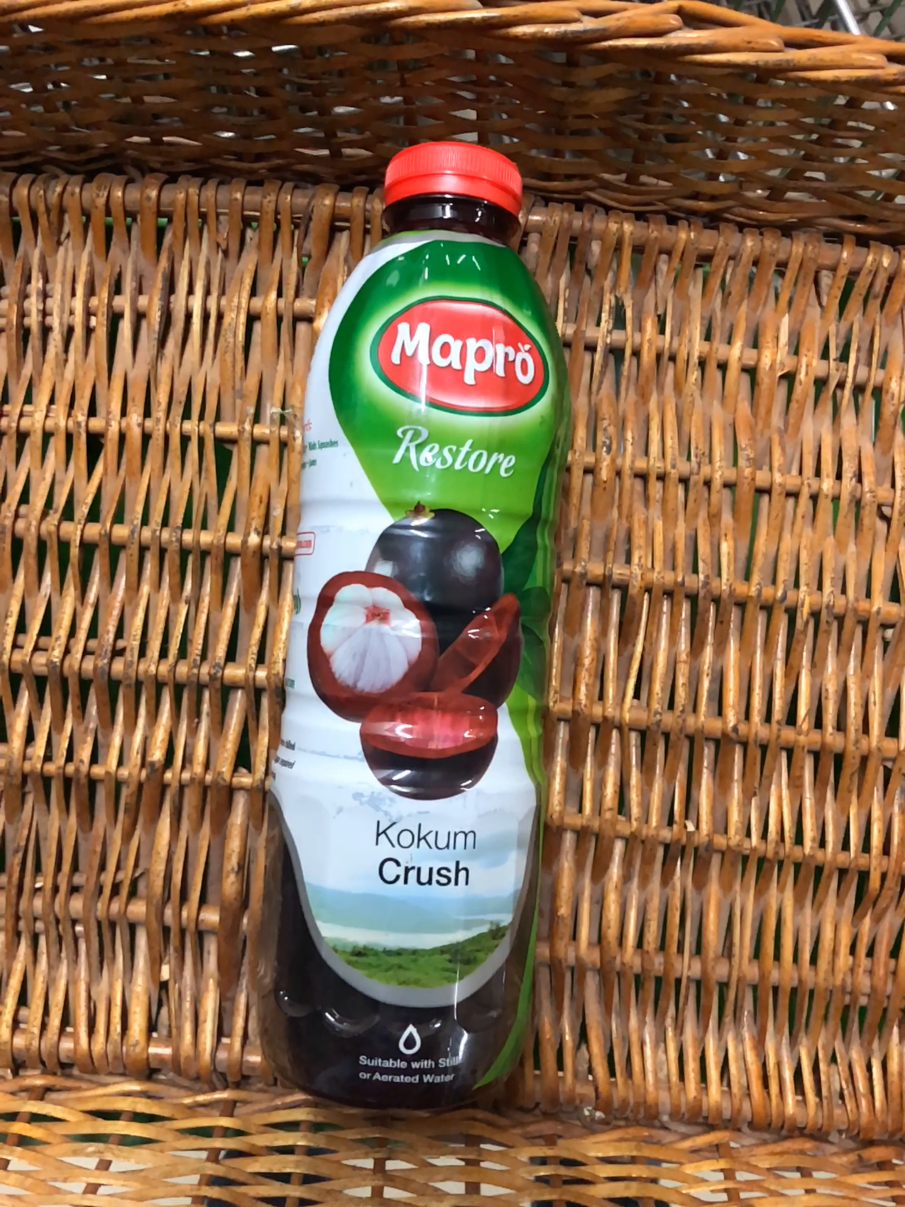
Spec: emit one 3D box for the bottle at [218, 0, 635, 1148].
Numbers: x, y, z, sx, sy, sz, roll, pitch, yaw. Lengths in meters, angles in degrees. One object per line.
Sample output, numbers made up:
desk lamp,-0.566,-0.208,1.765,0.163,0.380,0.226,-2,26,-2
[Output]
bottle,-0.006,-0.010,0.277,0.080,0.080,0.270,4,88,-3
